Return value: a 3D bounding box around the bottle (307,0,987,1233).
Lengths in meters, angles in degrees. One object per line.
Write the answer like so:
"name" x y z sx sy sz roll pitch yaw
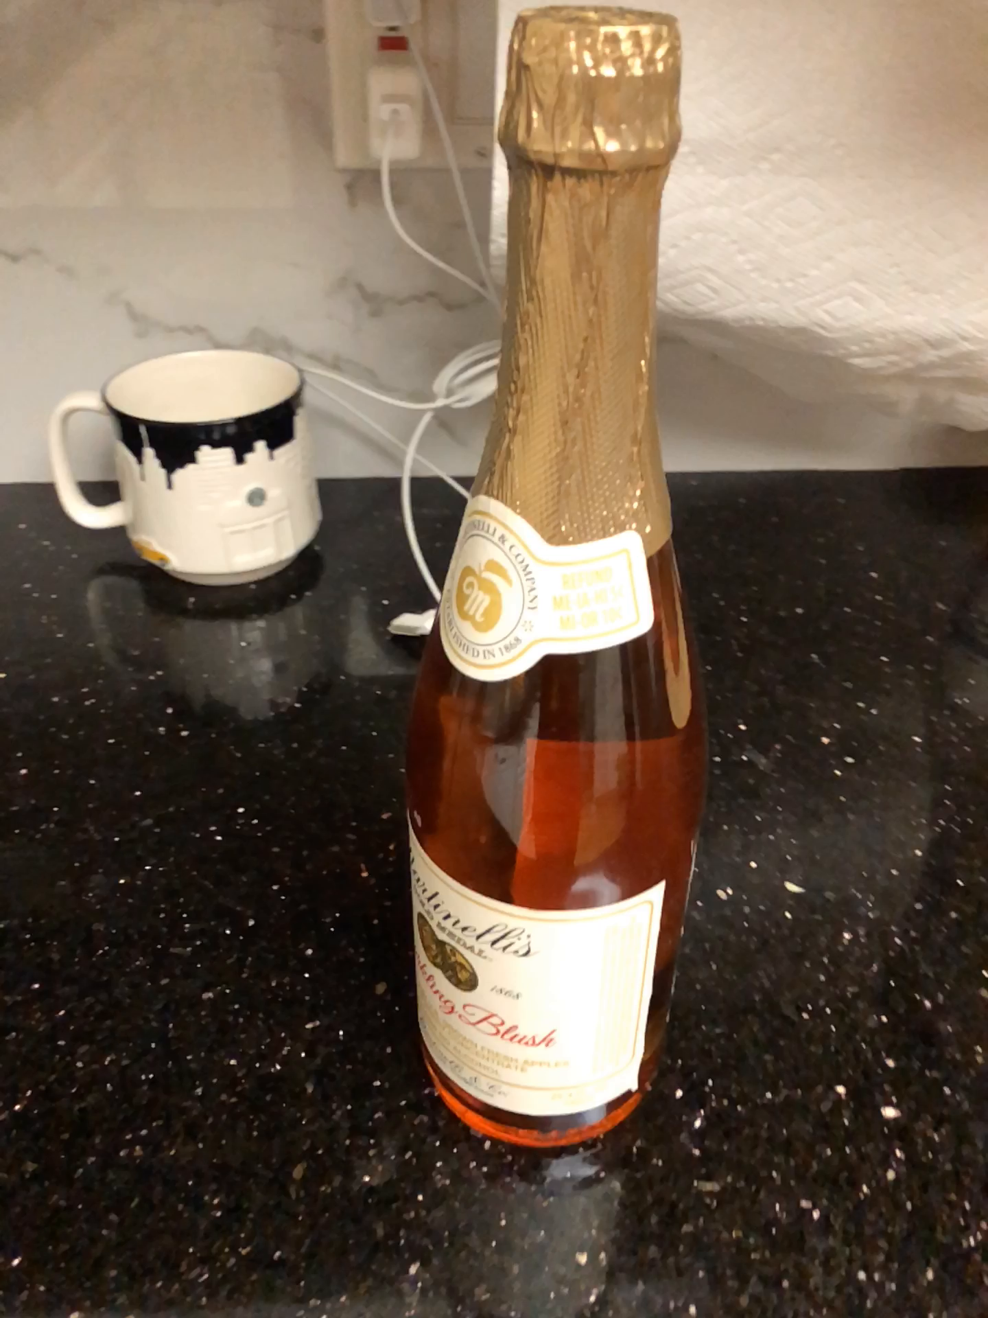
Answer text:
"bottle" 0.027 0.008 0.278 0.090 0.298 0.090 0 36 0
